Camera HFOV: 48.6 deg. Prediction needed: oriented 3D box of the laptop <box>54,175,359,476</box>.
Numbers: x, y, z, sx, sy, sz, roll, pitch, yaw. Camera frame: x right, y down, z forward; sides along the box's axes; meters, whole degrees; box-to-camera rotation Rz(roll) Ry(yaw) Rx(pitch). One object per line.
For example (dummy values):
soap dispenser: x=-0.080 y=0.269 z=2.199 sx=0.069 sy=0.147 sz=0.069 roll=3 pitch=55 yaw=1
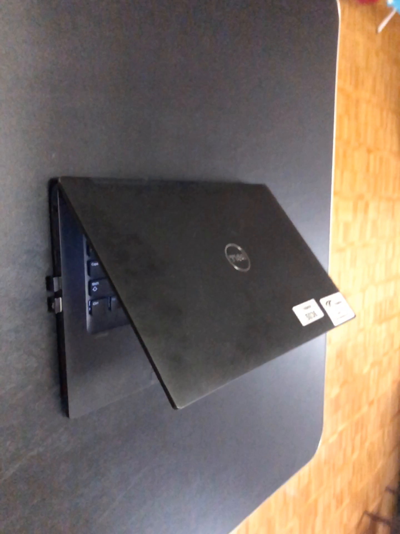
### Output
laptop: x=0.035 y=0.025 z=0.478 sx=0.320 sy=0.142 sz=0.220 roll=-10 pitch=102 yaw=-48
